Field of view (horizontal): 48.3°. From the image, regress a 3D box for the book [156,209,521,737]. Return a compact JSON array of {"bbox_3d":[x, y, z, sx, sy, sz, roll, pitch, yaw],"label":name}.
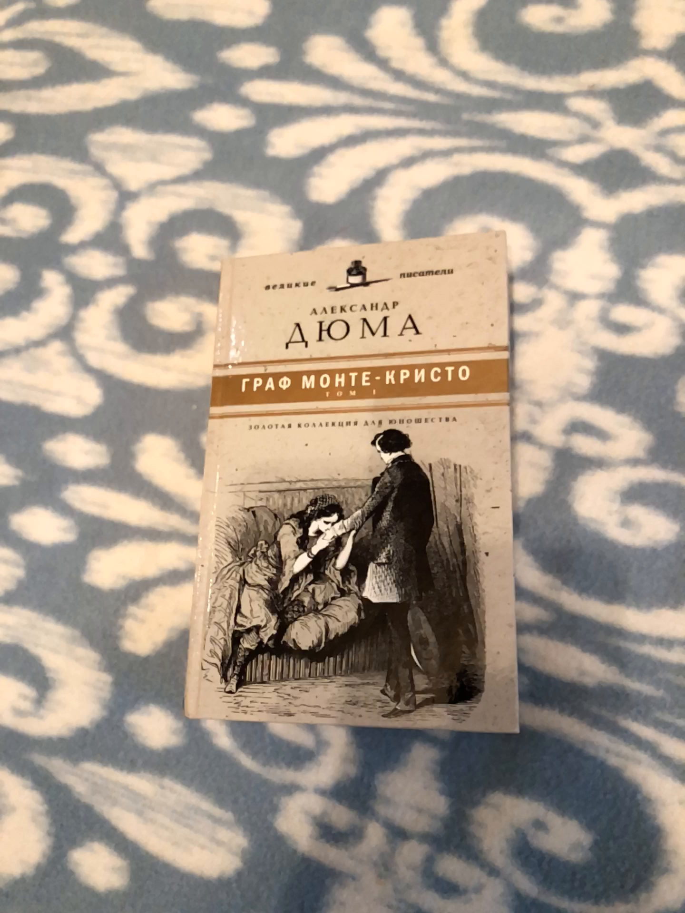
[{"bbox_3d":[0.002,0.004,0.329,0.138,0.040,0.212,-2,73,13],"label":"book"}]
